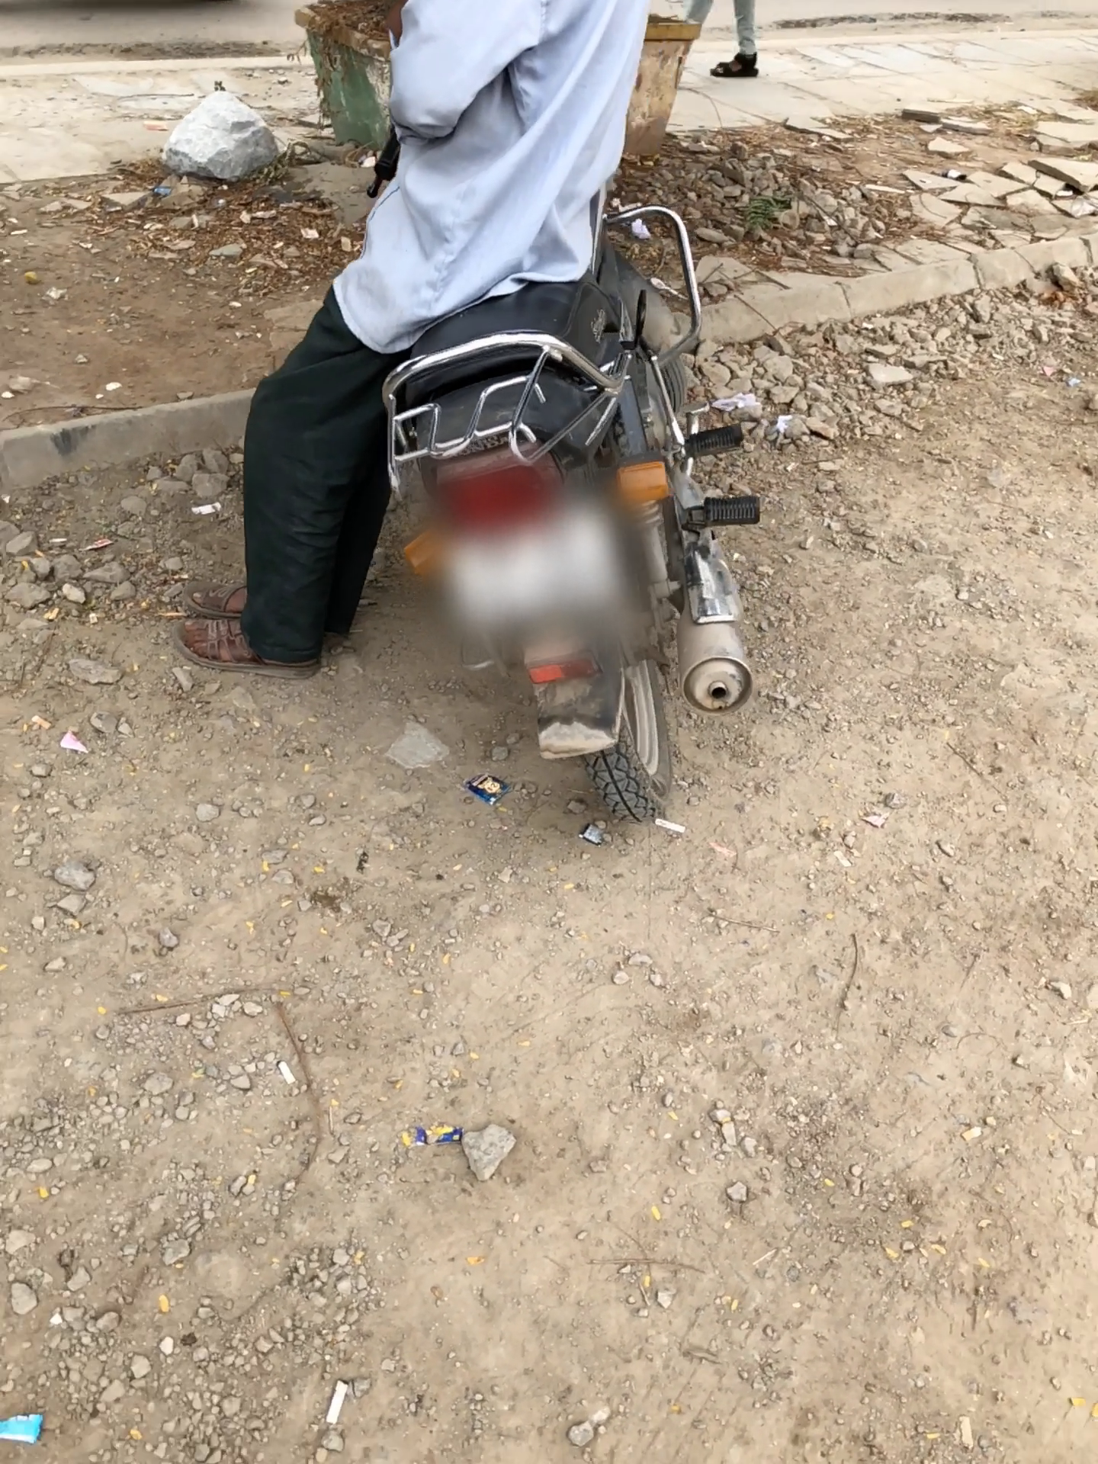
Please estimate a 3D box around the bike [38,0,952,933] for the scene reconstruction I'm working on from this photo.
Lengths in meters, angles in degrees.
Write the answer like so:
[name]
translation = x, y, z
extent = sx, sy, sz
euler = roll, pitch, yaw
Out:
[bike]
translation = -0.151, -0.698, 1.937
extent = 0.739, 1.170, 1.603
euler = 1, 42, -7
